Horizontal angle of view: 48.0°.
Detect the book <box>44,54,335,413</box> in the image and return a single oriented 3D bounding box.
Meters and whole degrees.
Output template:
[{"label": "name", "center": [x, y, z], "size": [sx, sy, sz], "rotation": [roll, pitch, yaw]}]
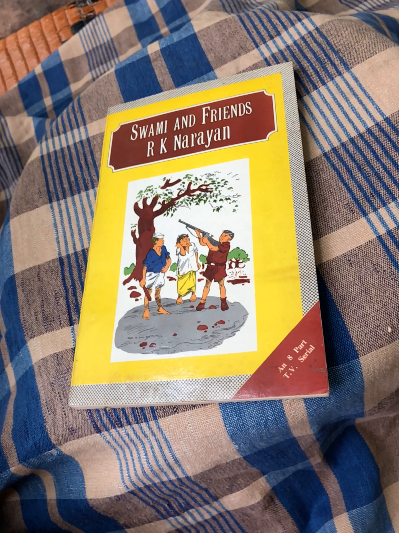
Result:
[{"label": "book", "center": [-0.006, -0.024, 0.241], "size": [0.130, 0.020, 0.190], "rotation": [-8, 62, 17]}]
